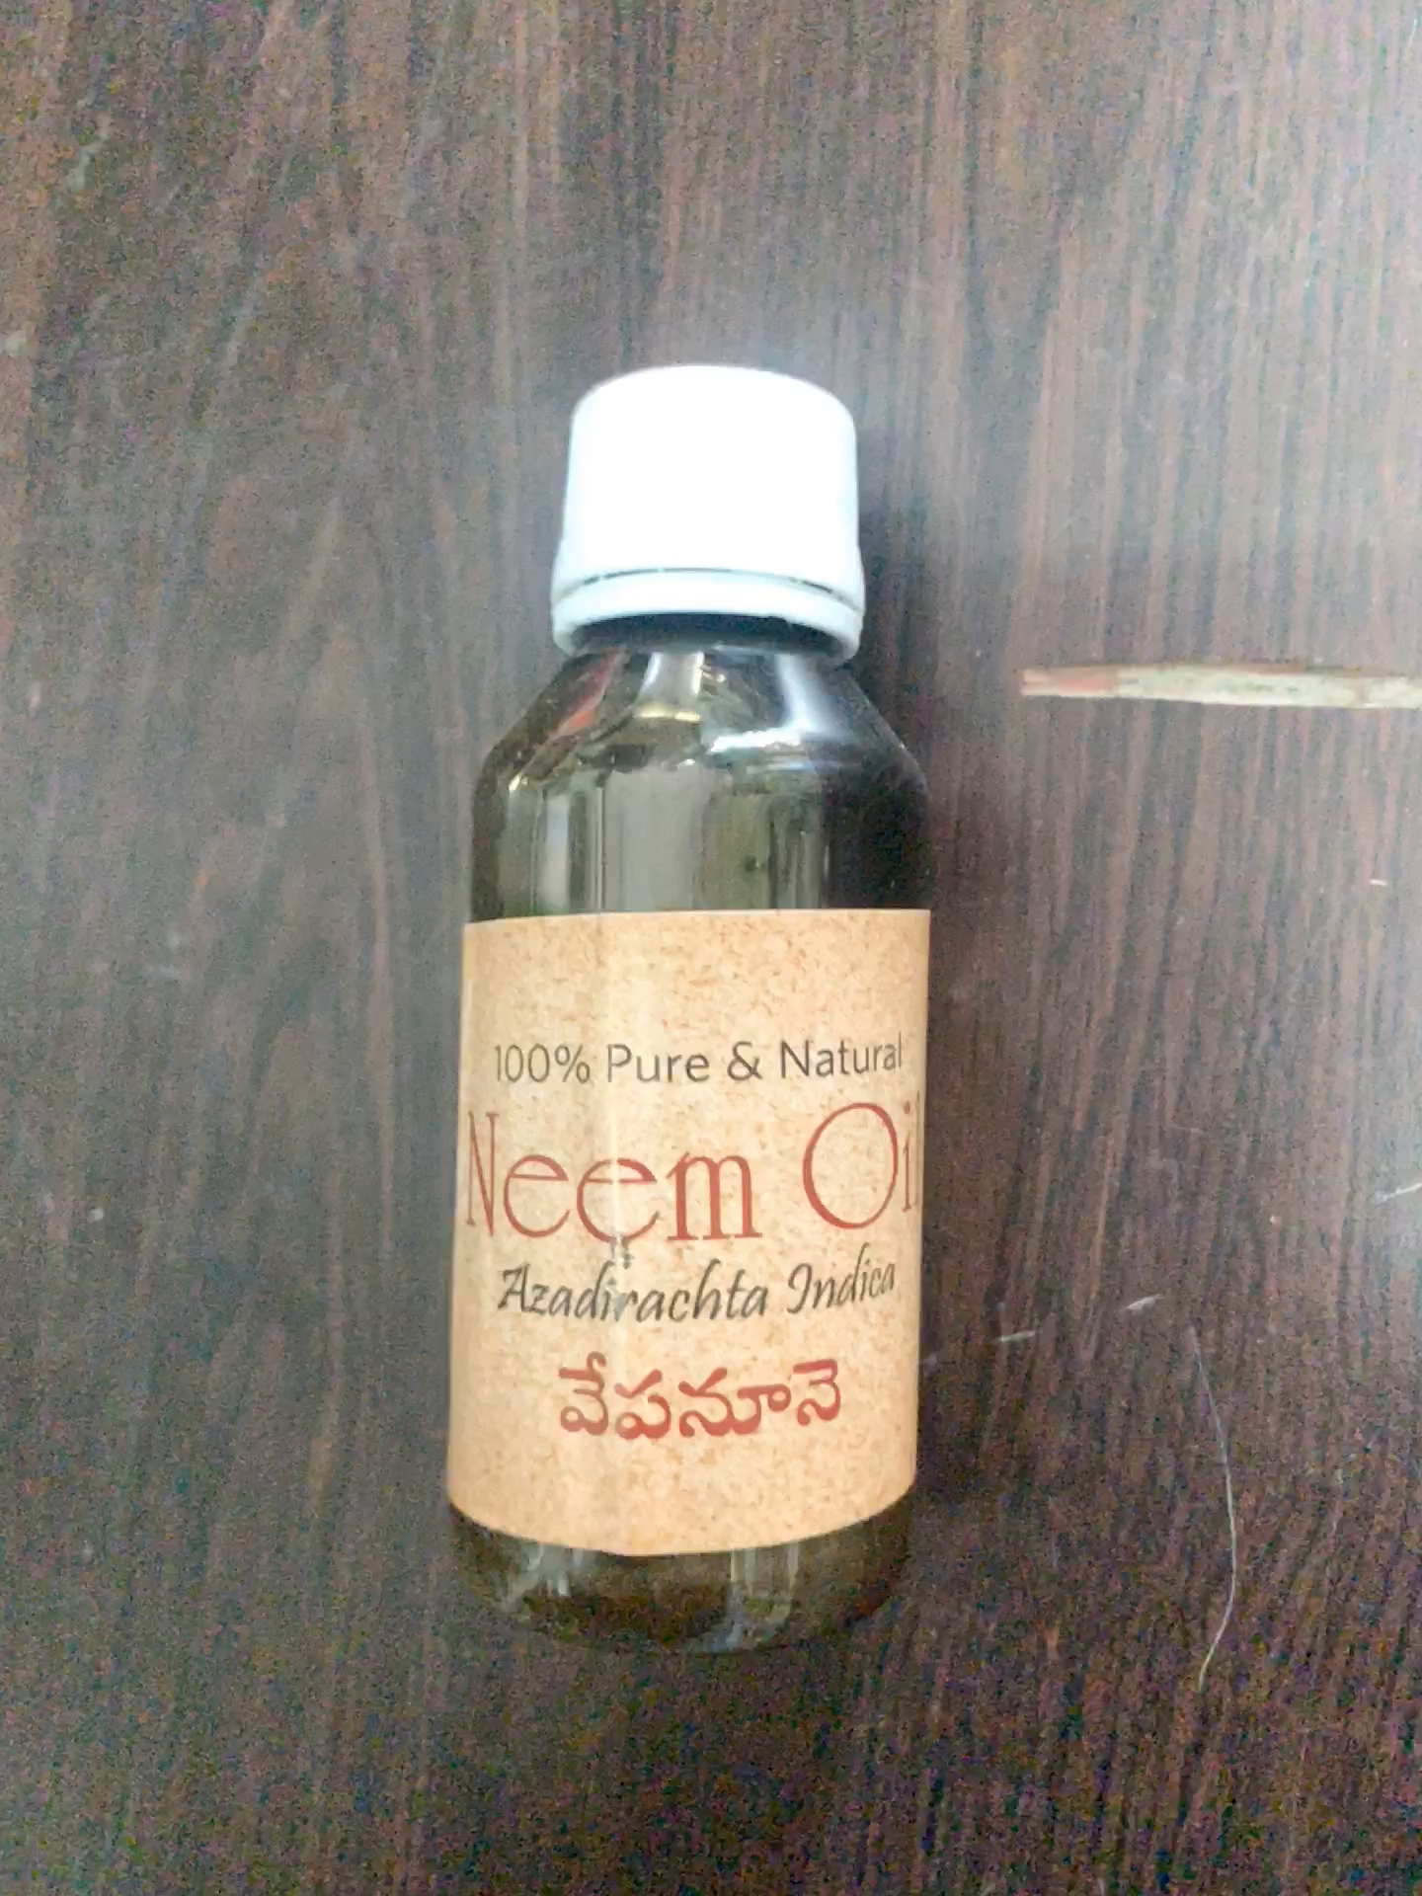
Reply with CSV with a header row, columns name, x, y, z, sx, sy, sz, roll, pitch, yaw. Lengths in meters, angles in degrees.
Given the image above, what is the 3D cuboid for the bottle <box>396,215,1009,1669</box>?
name,x,y,z,sx,sy,sz,roll,pitch,yaw
bottle,0.001,-0.001,0.146,0.050,0.040,0.120,0,87,3
